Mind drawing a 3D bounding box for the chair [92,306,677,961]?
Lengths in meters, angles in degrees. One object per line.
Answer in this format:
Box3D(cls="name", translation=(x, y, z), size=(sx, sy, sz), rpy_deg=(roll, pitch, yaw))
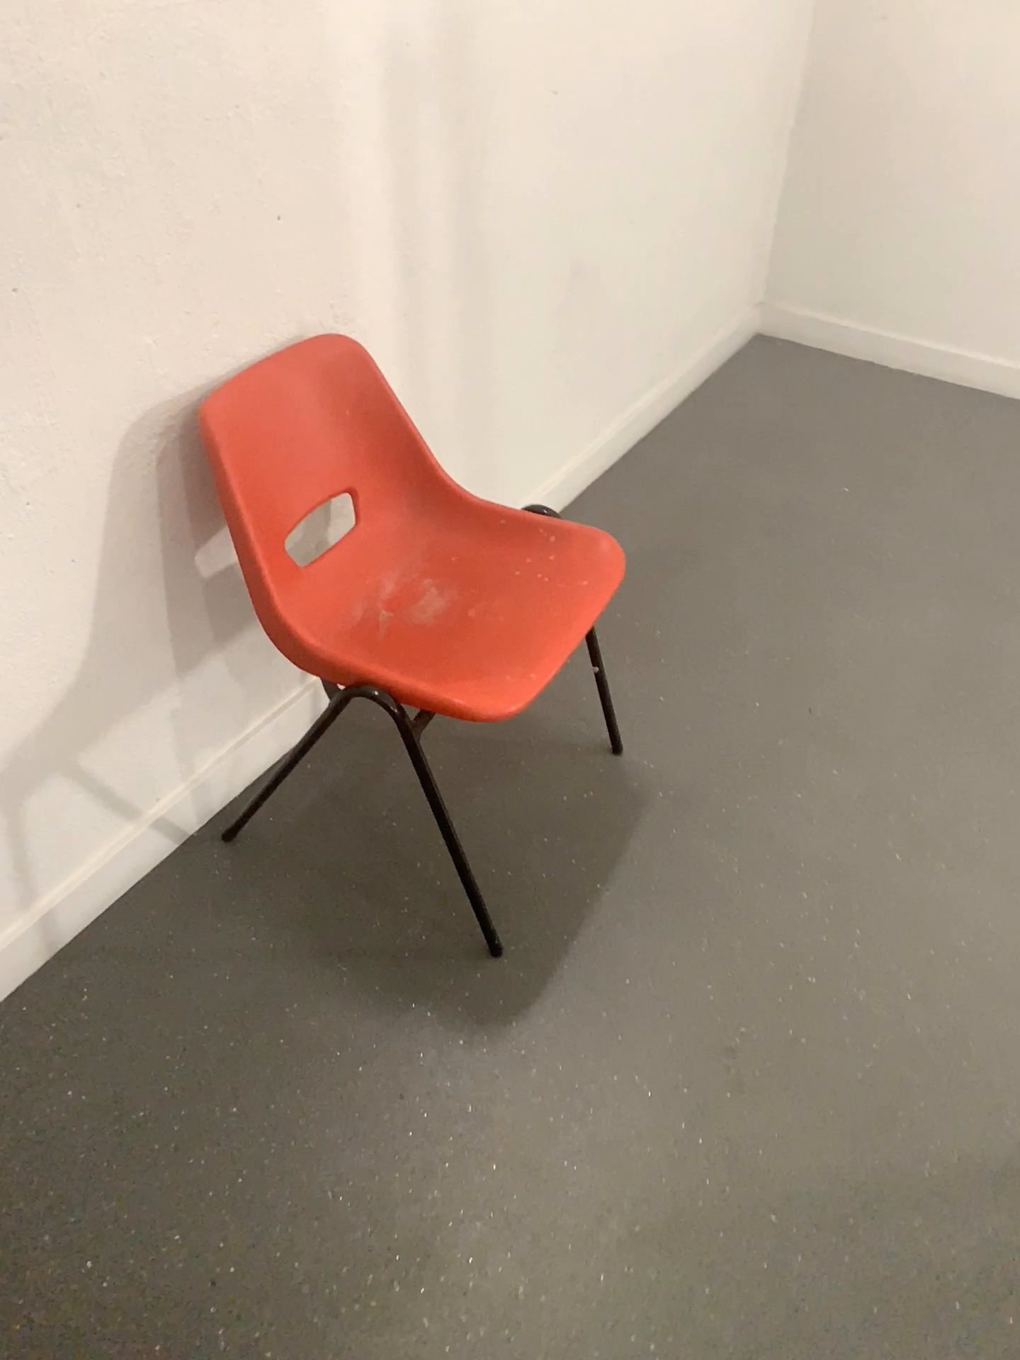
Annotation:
Box3D(cls="chair", translation=(-0.147, -0.084, 1.611), size=(0.591, 0.713, 0.514), rpy_deg=(19, 45, 20))
